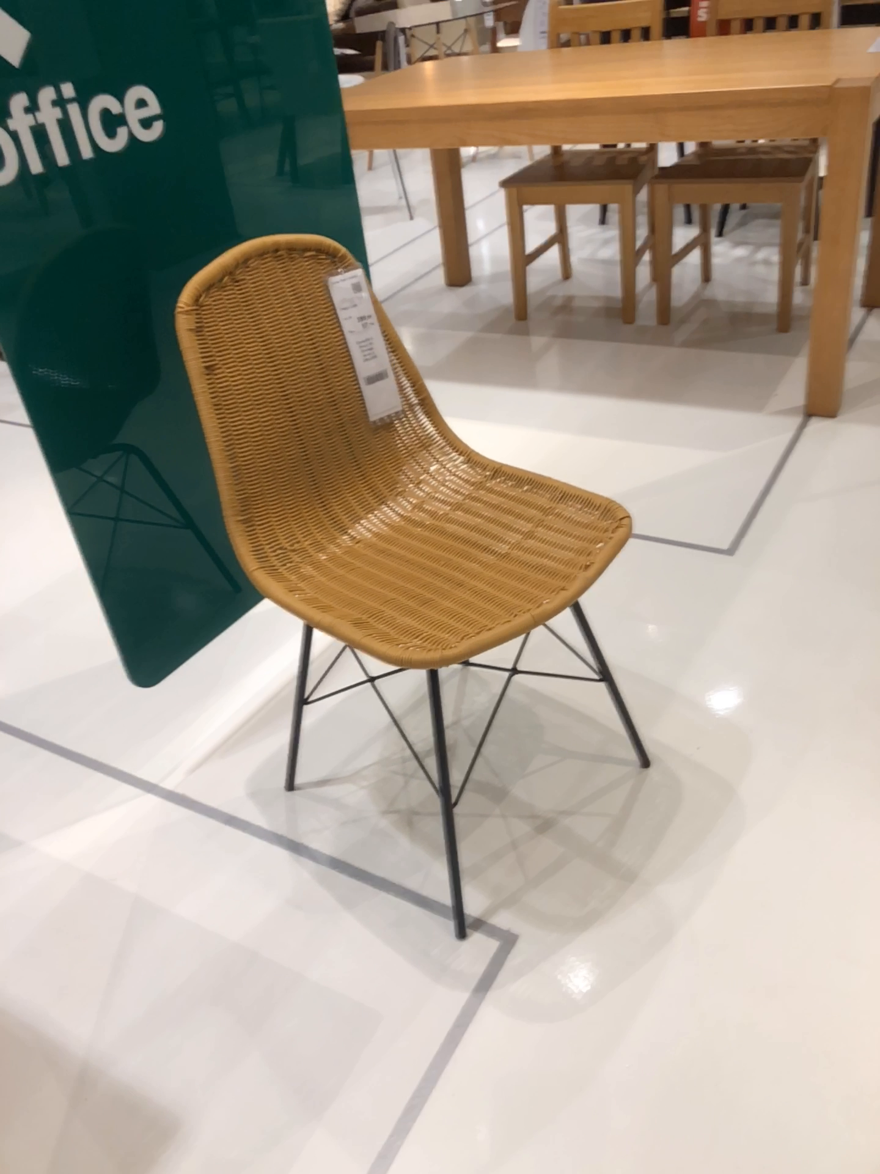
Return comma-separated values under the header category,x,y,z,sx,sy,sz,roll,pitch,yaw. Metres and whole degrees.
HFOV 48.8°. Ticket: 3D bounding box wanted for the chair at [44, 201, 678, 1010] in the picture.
category,x,y,z,sx,sy,sz,roll,pitch,yaw
chair,-0.057,-0.005,1.360,0.492,0.863,0.573,-33,41,-32
